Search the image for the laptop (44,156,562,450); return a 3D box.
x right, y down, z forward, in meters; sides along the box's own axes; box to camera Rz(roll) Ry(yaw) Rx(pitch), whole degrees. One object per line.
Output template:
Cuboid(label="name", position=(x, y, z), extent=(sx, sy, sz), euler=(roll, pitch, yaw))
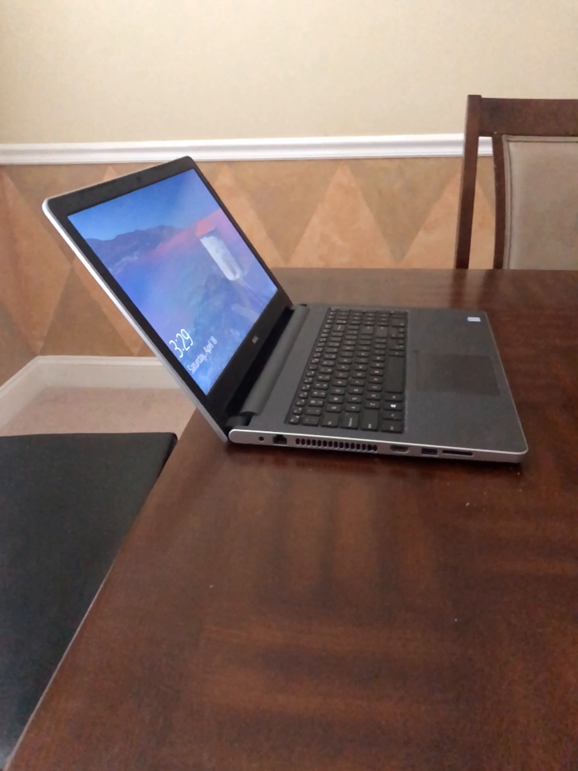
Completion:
Cuboid(label="laptop", position=(0.033, -0.124, 0.680), extent=(0.391, 0.198, 0.368), euler=(3, 25, 9))
